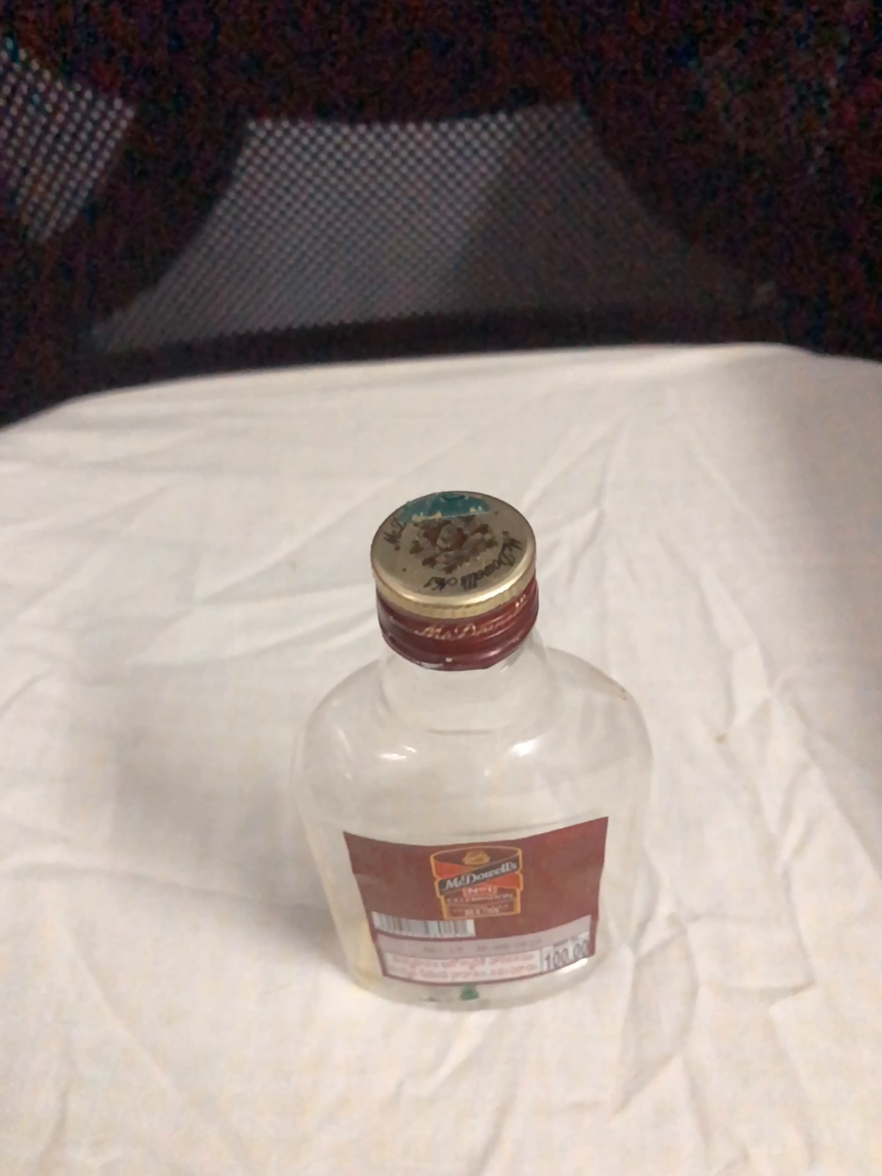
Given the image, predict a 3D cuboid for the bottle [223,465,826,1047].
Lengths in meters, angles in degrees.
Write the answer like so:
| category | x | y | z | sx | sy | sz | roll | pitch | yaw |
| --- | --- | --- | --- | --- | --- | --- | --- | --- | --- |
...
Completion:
| category | x | y | z | sx | sy | sz | roll | pitch | yaw |
| --- | --- | --- | --- | --- | --- | --- | --- | --- | --- |
| bottle | 0.012 | 0.044 | 0.197 | 0.080 | 0.139 | 0.040 | -4 | 48 | -1 |
